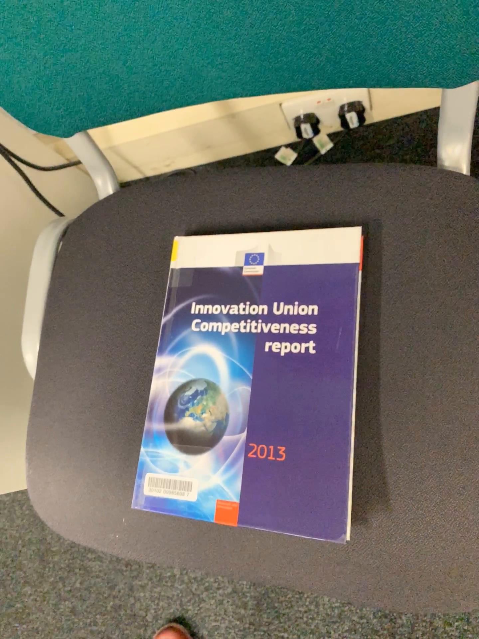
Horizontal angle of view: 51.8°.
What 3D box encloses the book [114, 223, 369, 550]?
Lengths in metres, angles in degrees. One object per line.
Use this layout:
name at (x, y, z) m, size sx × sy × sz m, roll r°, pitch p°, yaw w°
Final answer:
book at (0.003, 0.042, 0.424) m, size 0.194 × 0.026 × 0.250 m, roll 1°, pitch 73°, yaw 23°
